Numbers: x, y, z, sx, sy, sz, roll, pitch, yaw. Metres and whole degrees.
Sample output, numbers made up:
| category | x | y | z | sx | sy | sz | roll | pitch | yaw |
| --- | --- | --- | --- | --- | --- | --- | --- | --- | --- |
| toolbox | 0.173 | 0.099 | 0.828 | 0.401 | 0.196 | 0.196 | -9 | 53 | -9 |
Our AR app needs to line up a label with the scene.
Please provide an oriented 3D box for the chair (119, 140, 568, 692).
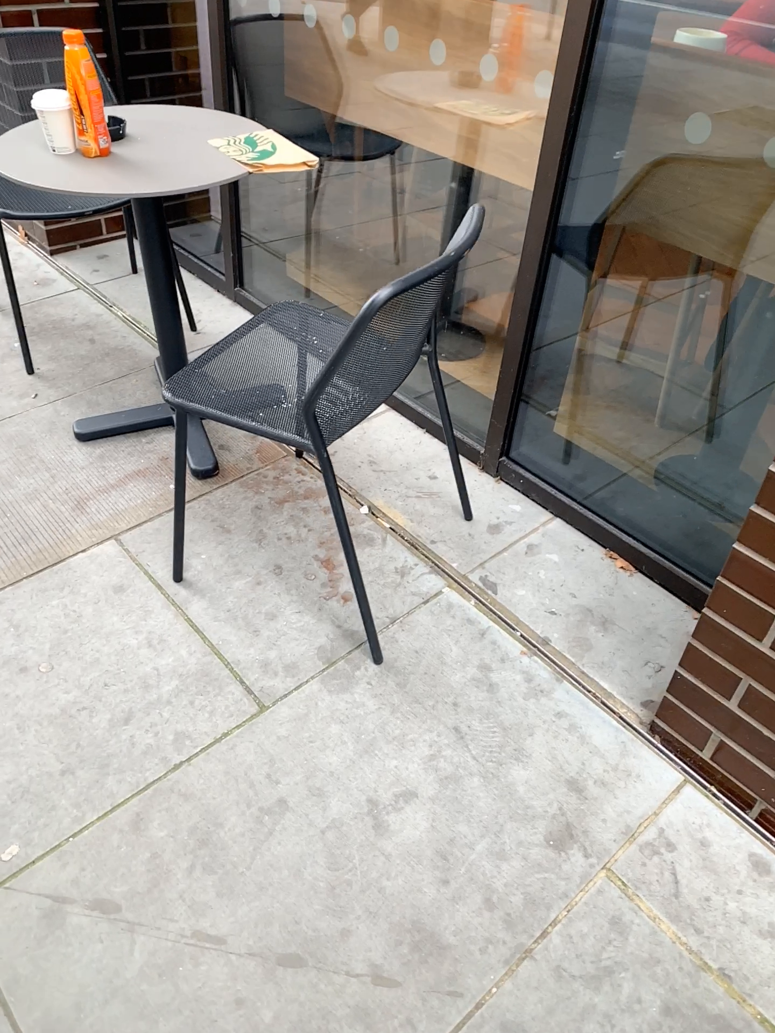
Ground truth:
| category | x | y | z | sx | sy | sz | roll | pitch | yaw |
| --- | --- | --- | --- | --- | --- | --- | --- | --- | --- |
| chair | -0.070 | -0.215 | 1.589 | 0.541 | 0.797 | 0.594 | 21 | 42 | 18 |
